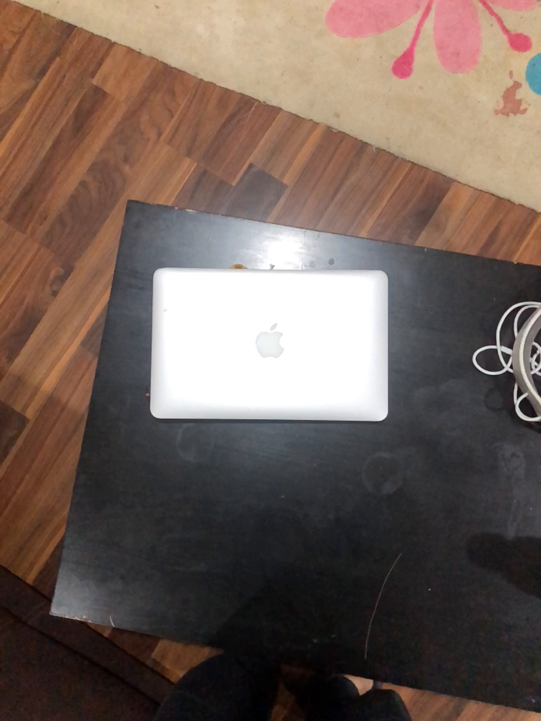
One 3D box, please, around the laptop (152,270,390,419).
[{"bbox_3d":[0.001,-0.019,0.764,0.300,0.011,0.190,1,91,-1],"label":"laptop"}]
